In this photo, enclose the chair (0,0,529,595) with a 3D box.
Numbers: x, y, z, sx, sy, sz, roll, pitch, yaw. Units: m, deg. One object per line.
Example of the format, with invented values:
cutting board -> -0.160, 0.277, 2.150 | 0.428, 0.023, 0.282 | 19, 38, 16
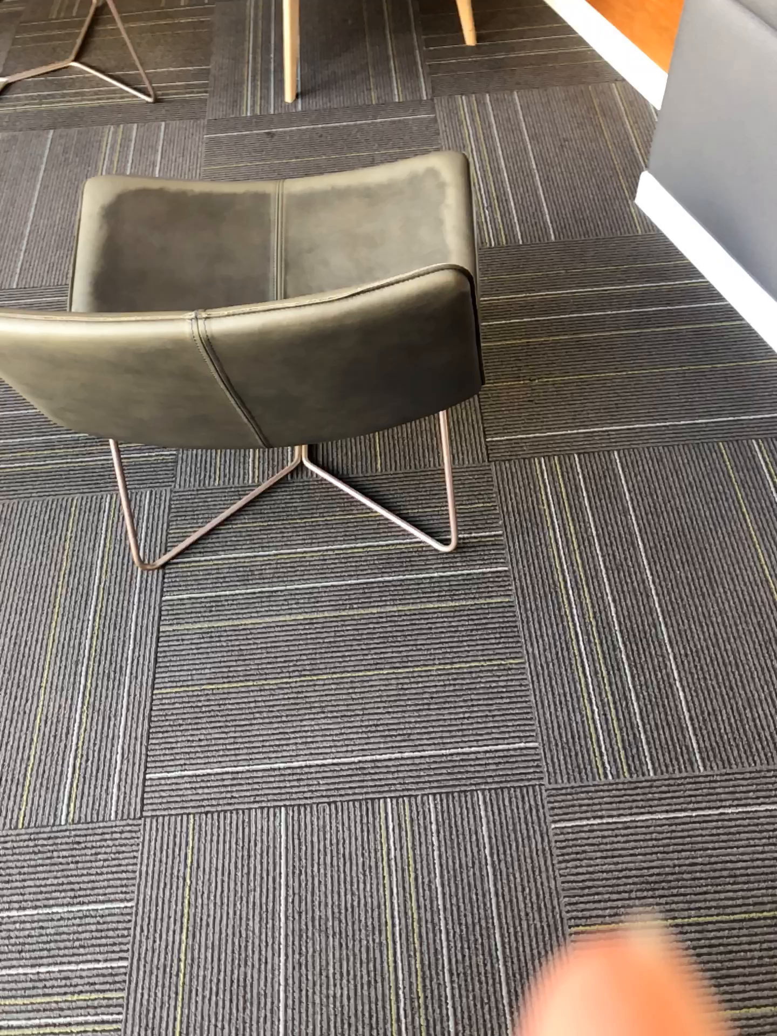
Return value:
chair -> -0.201, -0.369, 1.356 | 0.670, 0.878, 0.652 | -4, 62, 1
